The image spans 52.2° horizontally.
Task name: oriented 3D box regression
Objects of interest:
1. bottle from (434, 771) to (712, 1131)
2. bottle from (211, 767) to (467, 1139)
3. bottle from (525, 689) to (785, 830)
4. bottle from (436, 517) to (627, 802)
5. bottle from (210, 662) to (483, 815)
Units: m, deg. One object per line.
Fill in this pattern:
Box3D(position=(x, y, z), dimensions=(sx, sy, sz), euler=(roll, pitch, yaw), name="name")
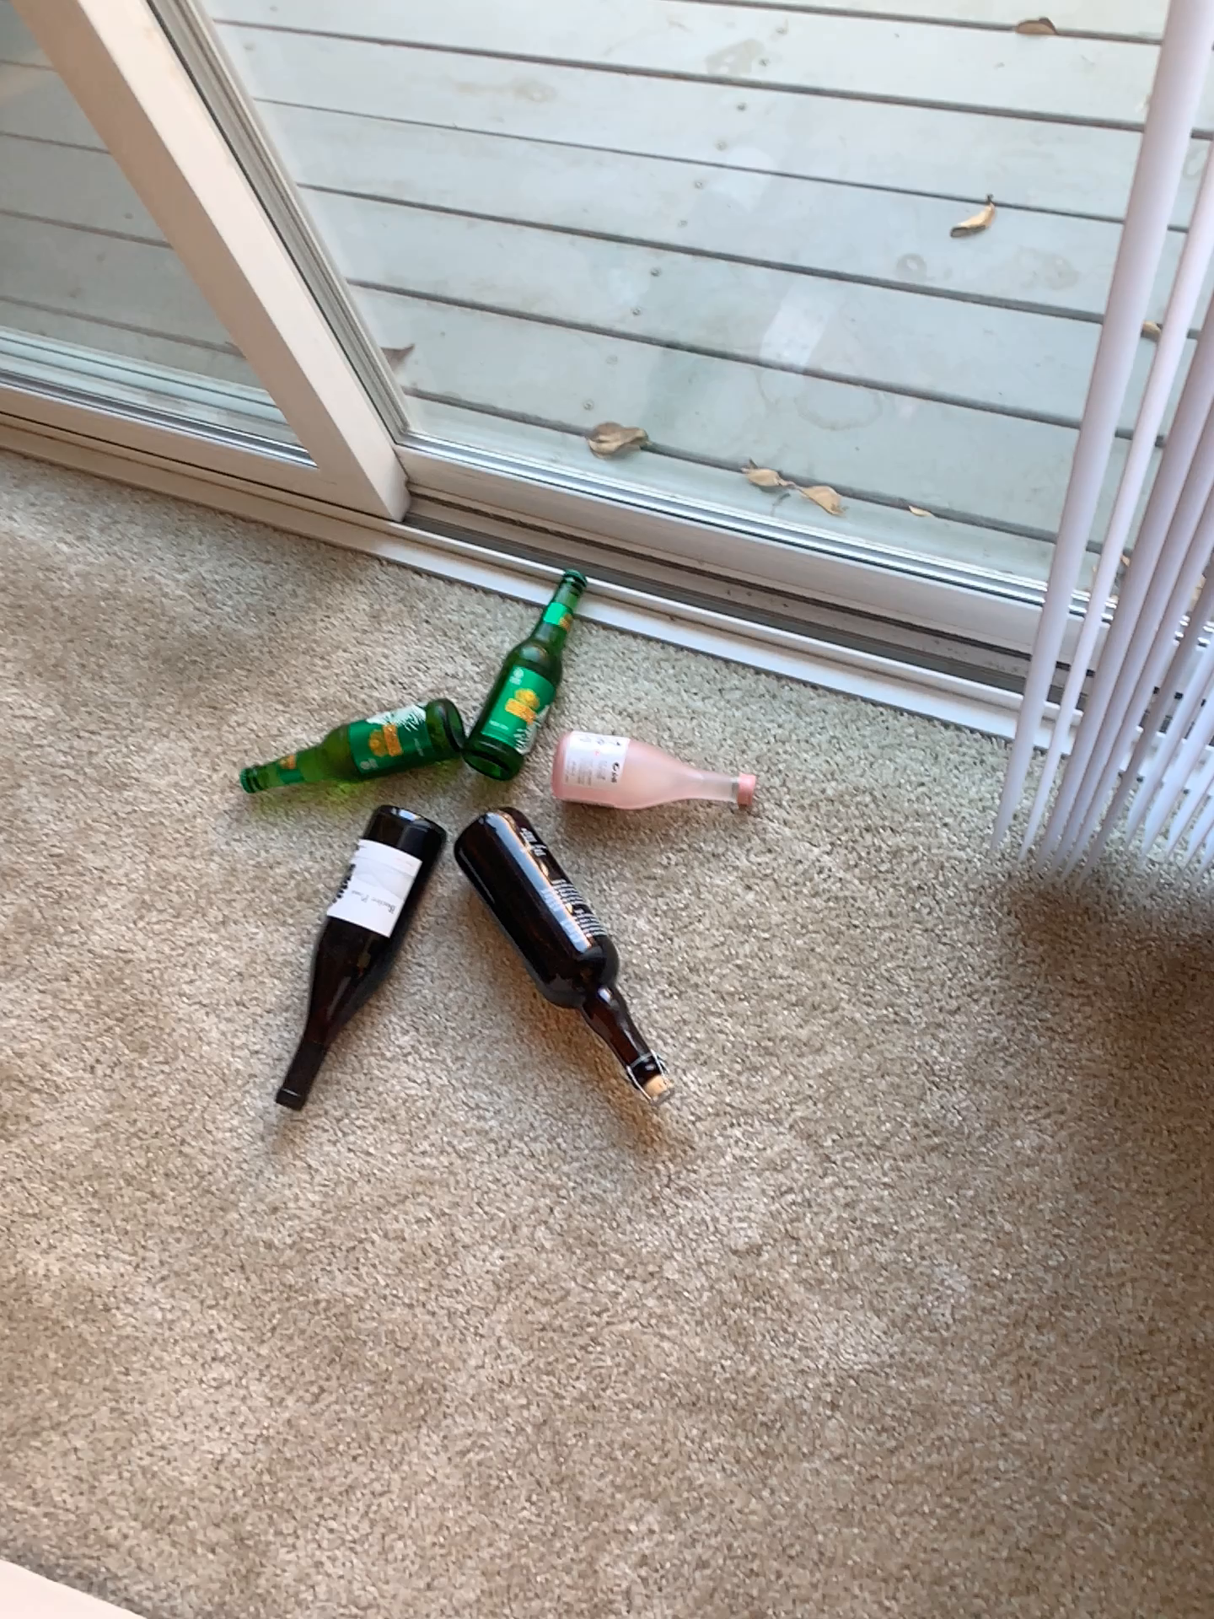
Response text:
Box3D(position=(-0.033, 0.118, 1.080), dimensions=(0.080, 0.090, 0.311), euler=(-34, 62, -3), name="bottle")
Box3D(position=(-0.233, 0.125, 1.115), dimensions=(0.080, 0.090, 0.310), euler=(14, 69, 18), name="bottle")
Box3D(position=(0.046, -0.046, 1.125), dimensions=(0.210, 0.090, 0.080), euler=(6, 69, 18), name="bottle")
Box3D(position=(-0.069, -0.146, 1.201), dimensions=(0.080, 0.090, 0.250), euler=(15, 74, 19), name="bottle")
Box3D(position=(-0.251, -0.066, 1.201), dimensions=(0.240, 0.090, 0.070), euler=(-11, 65, 6), name="bottle")
